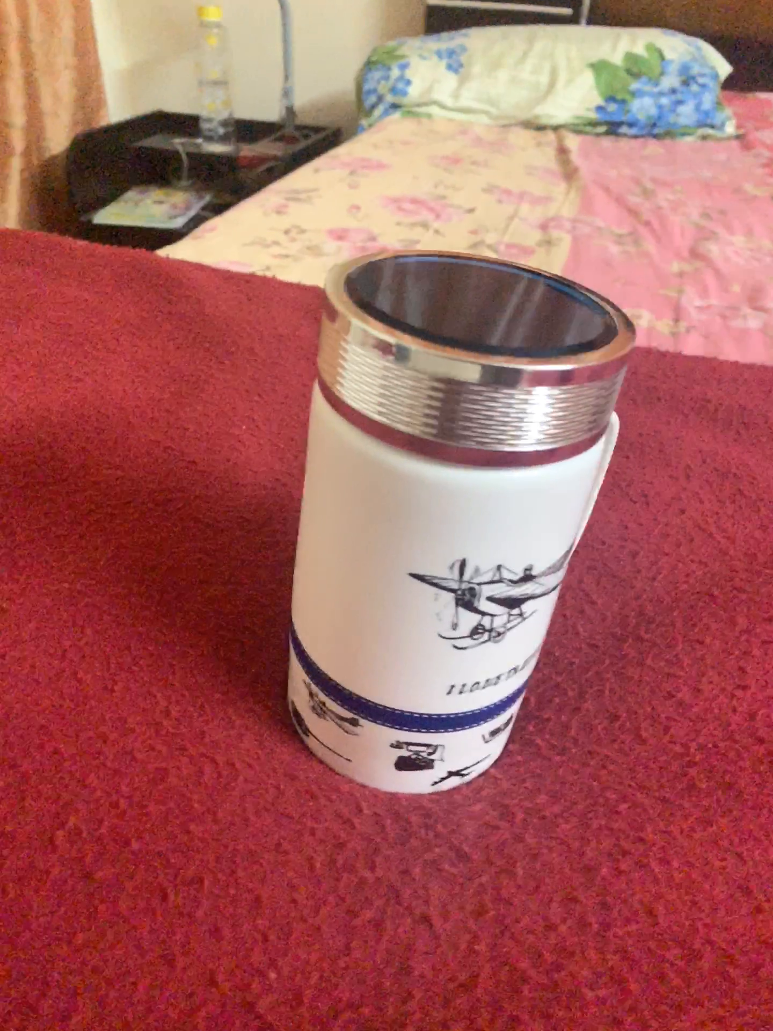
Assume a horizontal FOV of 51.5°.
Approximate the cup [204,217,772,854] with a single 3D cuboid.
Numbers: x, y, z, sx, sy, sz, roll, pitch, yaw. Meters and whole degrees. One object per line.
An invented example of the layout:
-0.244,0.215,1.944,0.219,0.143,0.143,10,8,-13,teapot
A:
0.021,-0.003,0.244,0.120,0.139,0.091,-20,43,-35,cup
